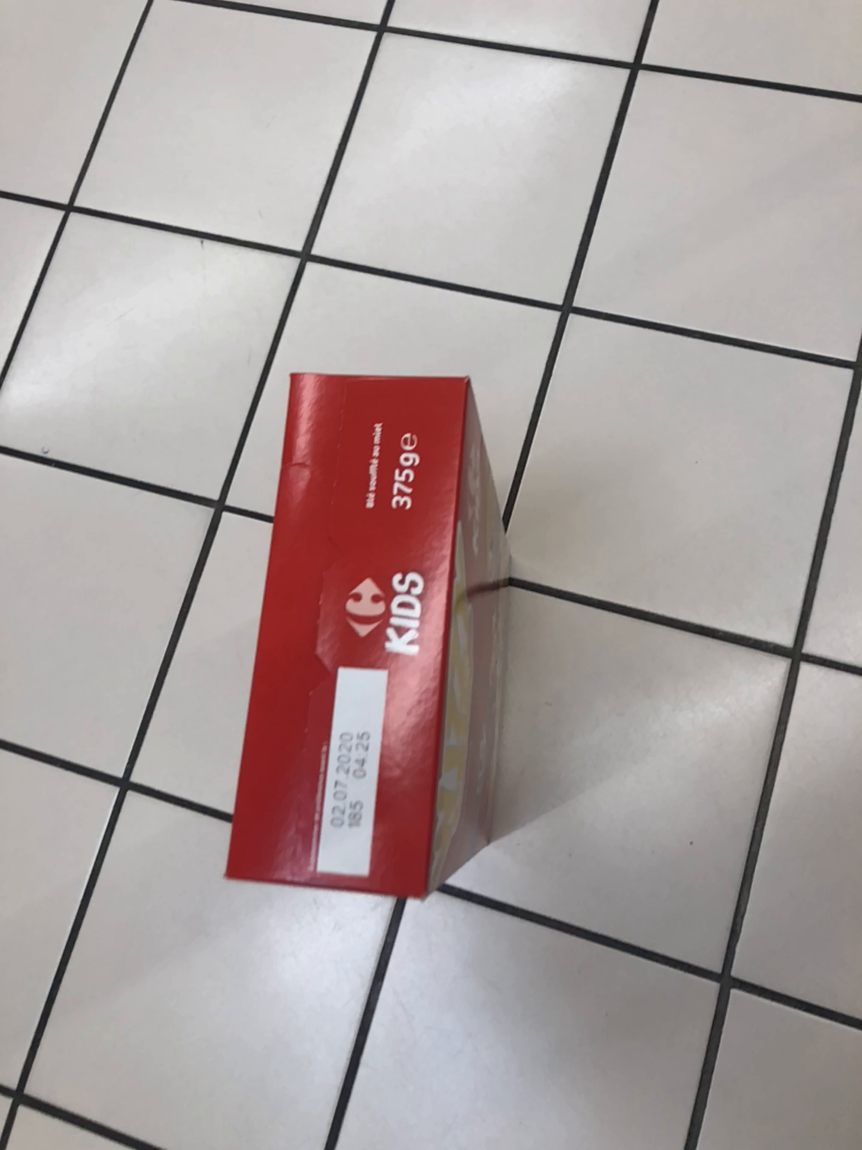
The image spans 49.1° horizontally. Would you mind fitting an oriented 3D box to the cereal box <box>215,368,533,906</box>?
[{"bbox_3d":[-0.004,0.045,0.473,0.090,0.280,0.190,3,78,9],"label":"cereal box"}]
